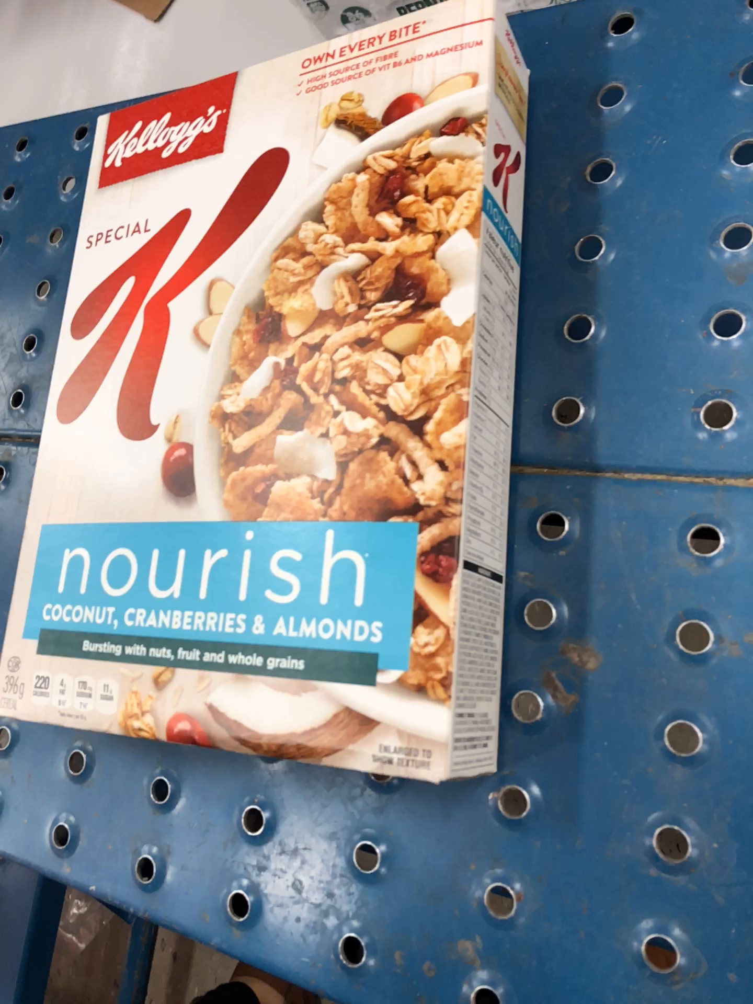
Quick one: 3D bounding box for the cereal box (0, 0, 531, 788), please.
[{"bbox_3d":[-0.053,-0.053,0.332,0.211,0.050,0.290,-2,77,28],"label":"cereal box"}]
